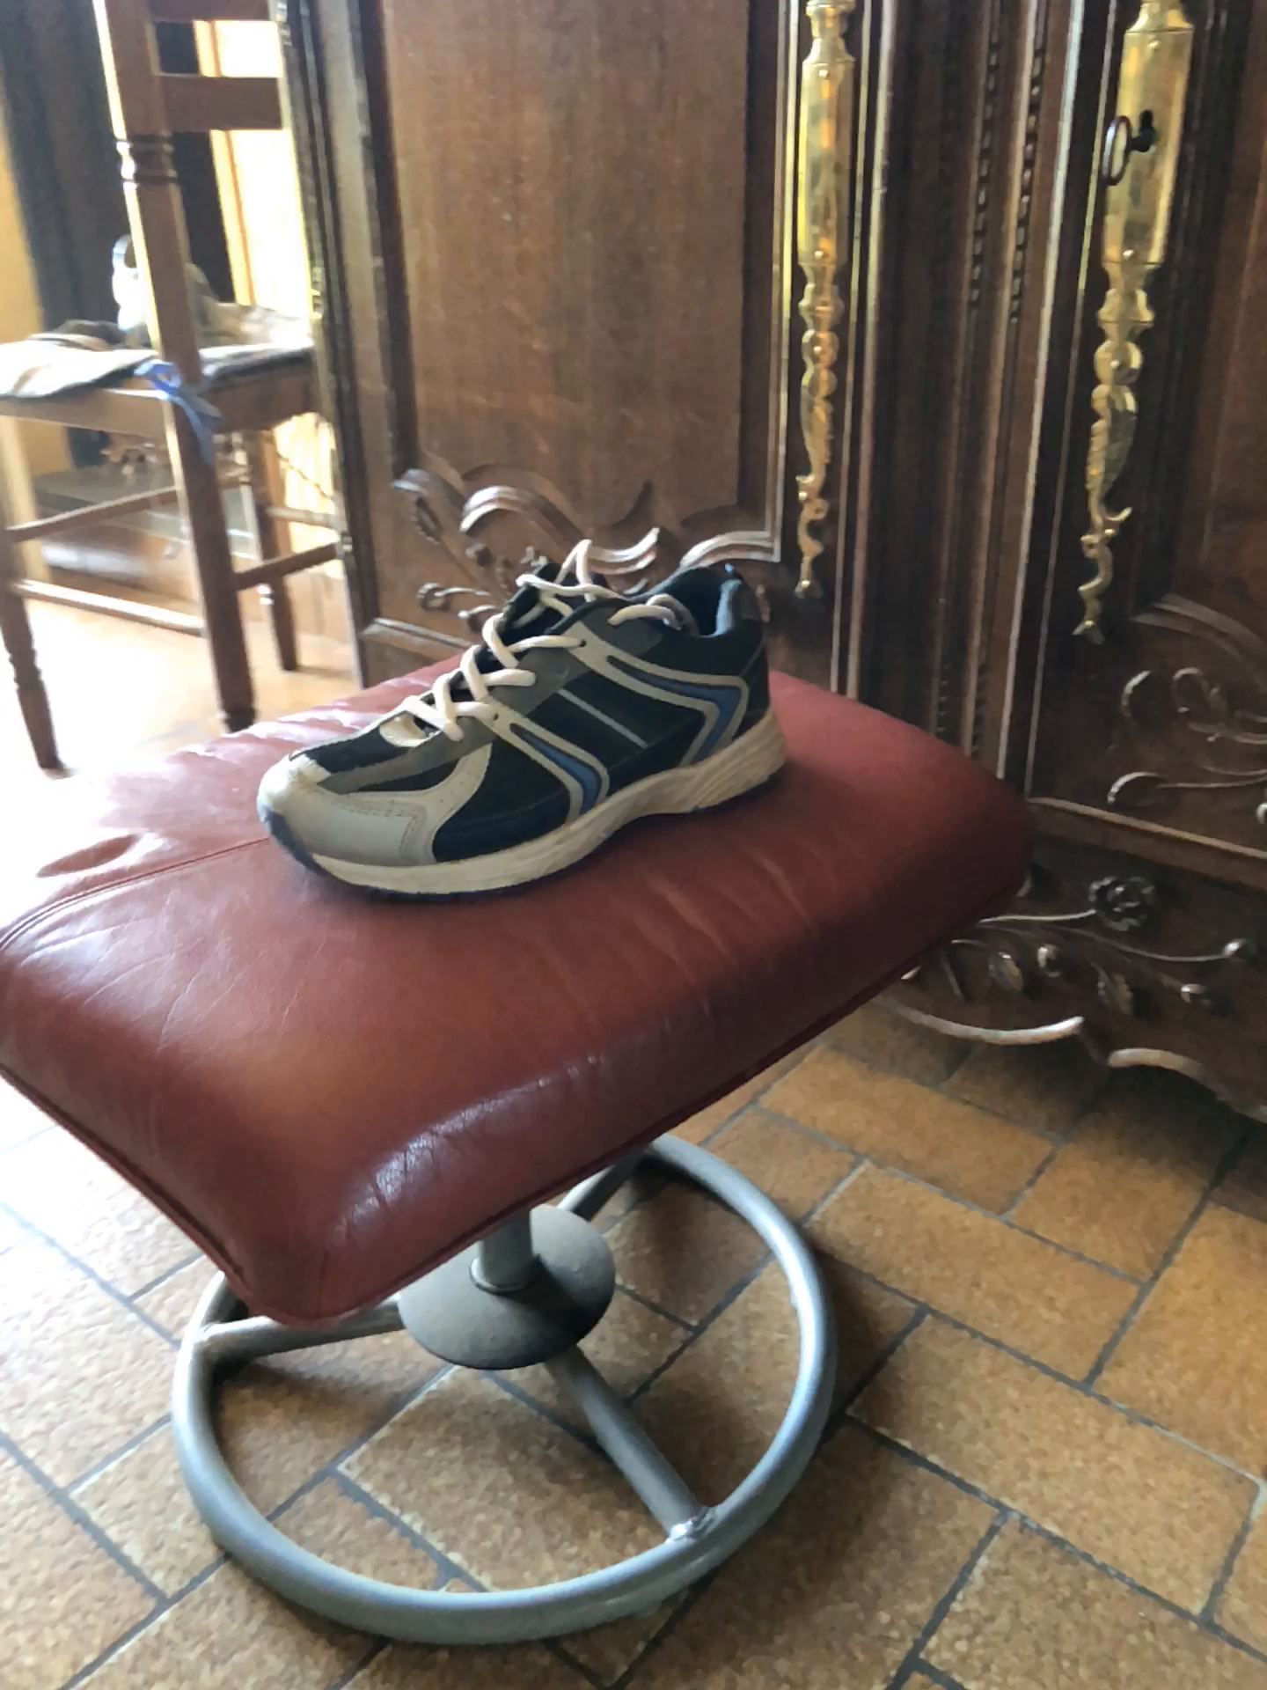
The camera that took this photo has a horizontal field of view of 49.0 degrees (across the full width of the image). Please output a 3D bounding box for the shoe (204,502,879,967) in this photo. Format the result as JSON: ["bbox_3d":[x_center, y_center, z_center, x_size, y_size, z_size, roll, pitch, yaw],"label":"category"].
[{"bbox_3d":[-0.032,-0.061,0.605,0.261,0.119,0.110,-17,30,-28],"label":"shoe"}]
